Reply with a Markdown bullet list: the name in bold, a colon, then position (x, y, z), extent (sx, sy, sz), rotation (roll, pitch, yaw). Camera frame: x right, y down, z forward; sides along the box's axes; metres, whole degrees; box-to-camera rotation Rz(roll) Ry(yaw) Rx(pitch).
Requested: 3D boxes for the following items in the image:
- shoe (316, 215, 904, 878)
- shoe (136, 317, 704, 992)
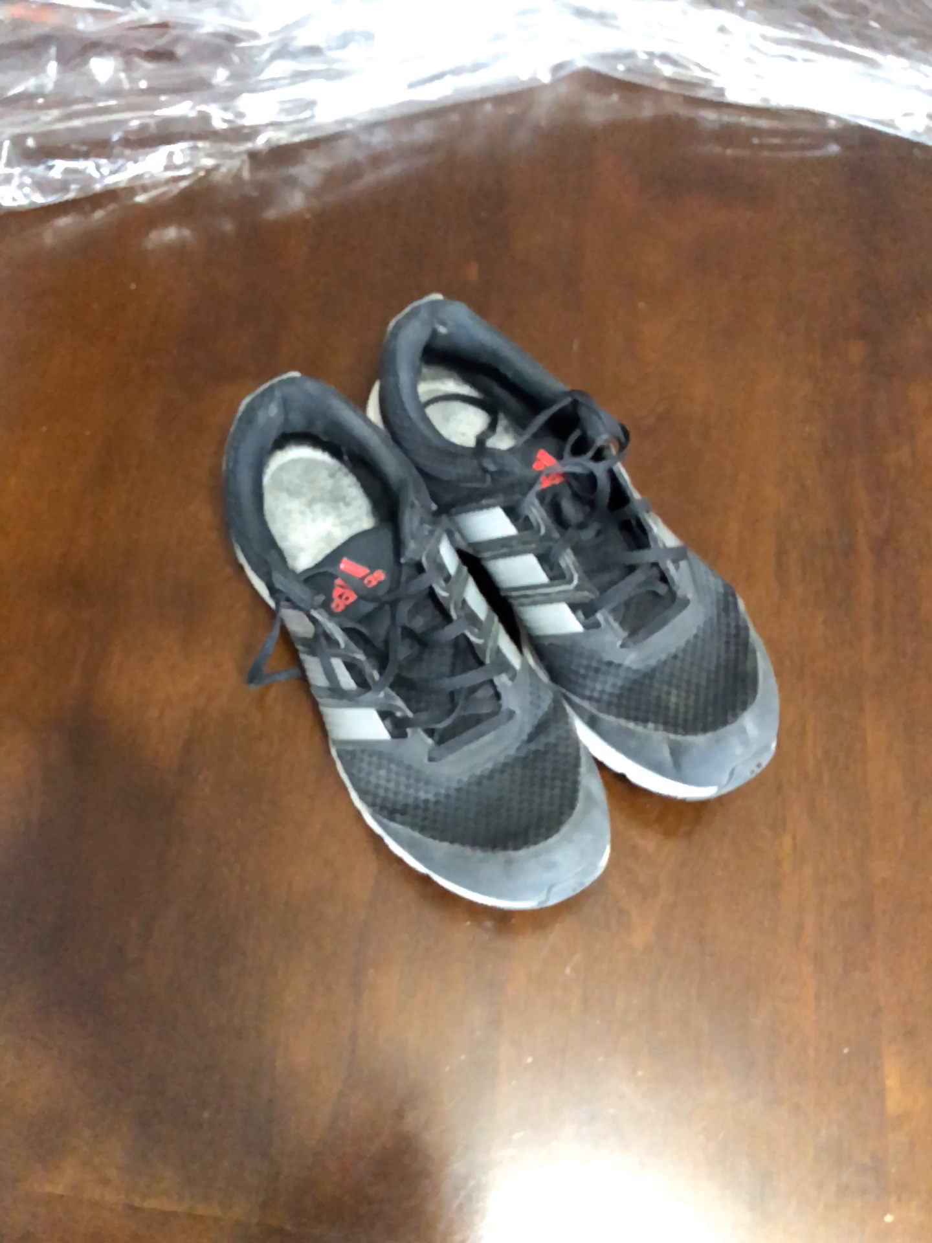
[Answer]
- **shoe**: position (0.053, -0.040, 0.526), extent (0.120, 0.130, 0.290), rotation (-29, 68, -14)
- **shoe**: position (-0.032, 0.012, 0.513), extent (0.120, 0.120, 0.290), rotation (-29, 68, -14)
